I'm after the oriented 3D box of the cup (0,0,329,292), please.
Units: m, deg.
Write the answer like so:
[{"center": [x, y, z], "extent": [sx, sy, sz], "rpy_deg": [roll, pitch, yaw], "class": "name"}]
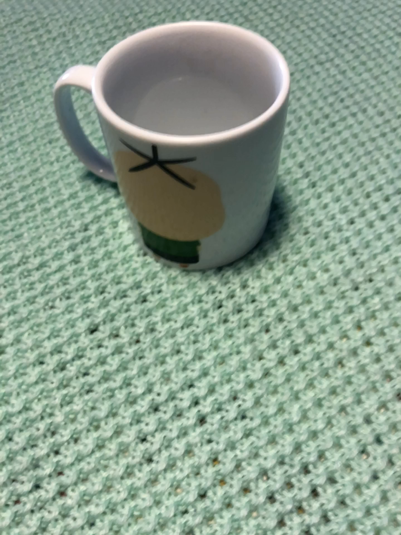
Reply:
[{"center": [-0.018, -0.071, 0.242], "extent": [0.130, 0.100, 0.090], "rpy_deg": [21, 60, 14], "class": "cup"}]
